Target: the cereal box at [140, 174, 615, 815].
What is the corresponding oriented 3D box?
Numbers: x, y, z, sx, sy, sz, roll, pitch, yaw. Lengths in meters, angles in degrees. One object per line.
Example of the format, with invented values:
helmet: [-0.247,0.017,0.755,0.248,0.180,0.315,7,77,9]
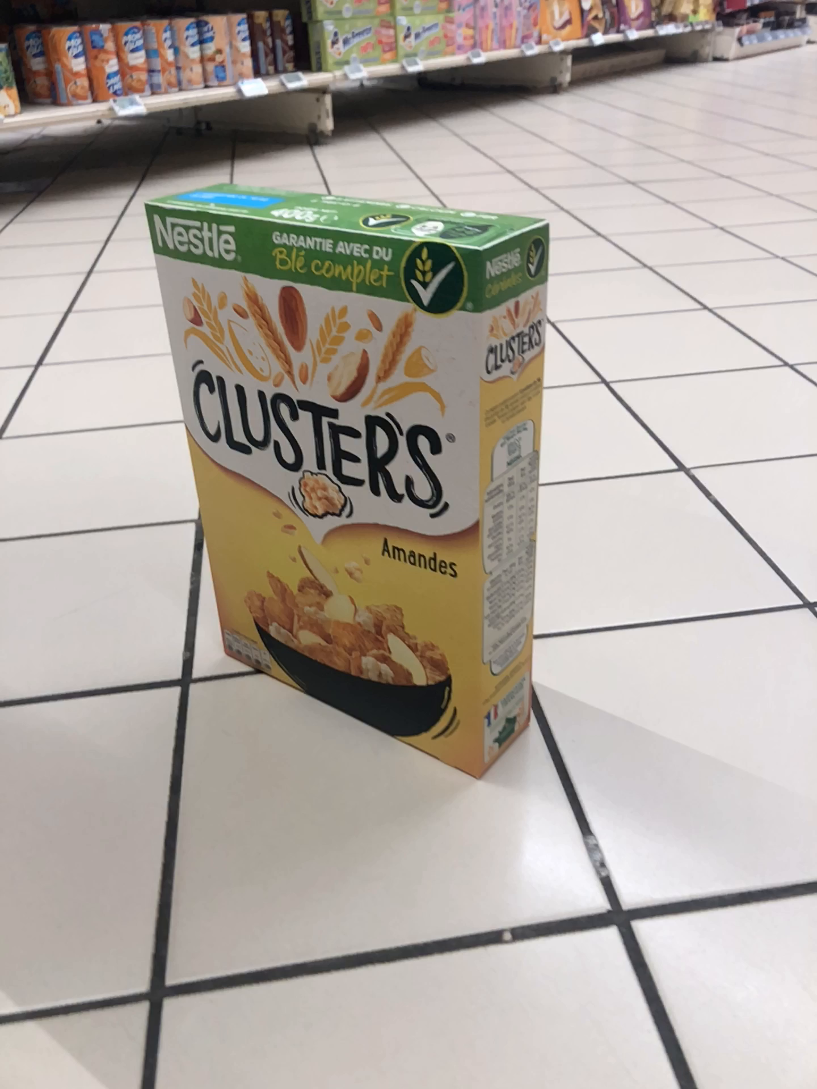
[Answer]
cereal box: [-0.019,-0.027,0.447,0.210,0.268,0.060,21,38,33]
